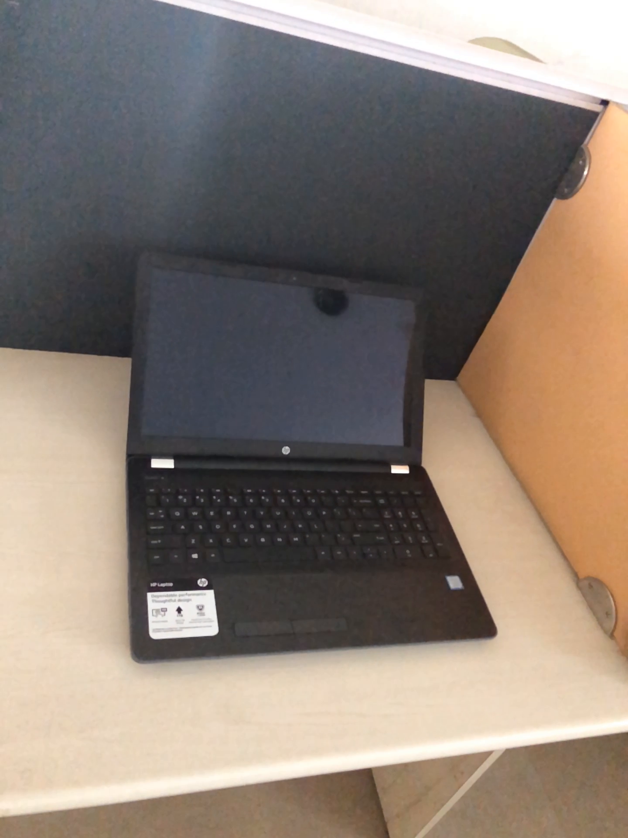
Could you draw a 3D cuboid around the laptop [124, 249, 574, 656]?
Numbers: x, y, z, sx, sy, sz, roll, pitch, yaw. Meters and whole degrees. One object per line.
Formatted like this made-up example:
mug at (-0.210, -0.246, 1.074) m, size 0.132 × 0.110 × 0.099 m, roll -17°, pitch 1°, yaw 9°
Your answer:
laptop at (-0.004, 0.016, 0.768) m, size 0.378 × 0.173 × 0.410 m, roll 3°, pitch 41°, yaw -21°
